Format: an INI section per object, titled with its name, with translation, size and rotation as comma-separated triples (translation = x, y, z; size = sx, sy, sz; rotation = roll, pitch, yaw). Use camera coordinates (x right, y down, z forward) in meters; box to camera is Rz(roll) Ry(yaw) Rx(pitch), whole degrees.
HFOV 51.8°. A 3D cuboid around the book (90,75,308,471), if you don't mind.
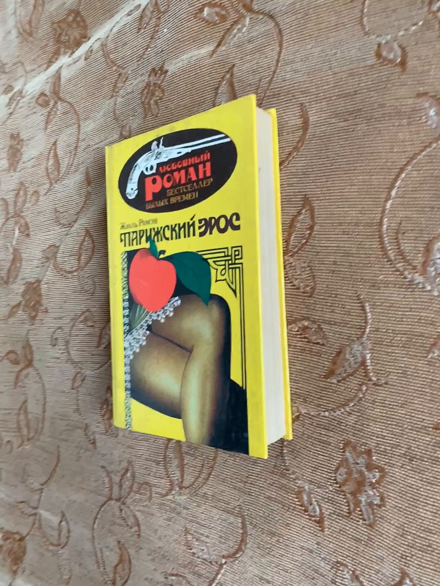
[book]
translation = -0.019, -0.008, 0.279
size = 0.131, 0.040, 0.196
rotation = -3, 89, 37
